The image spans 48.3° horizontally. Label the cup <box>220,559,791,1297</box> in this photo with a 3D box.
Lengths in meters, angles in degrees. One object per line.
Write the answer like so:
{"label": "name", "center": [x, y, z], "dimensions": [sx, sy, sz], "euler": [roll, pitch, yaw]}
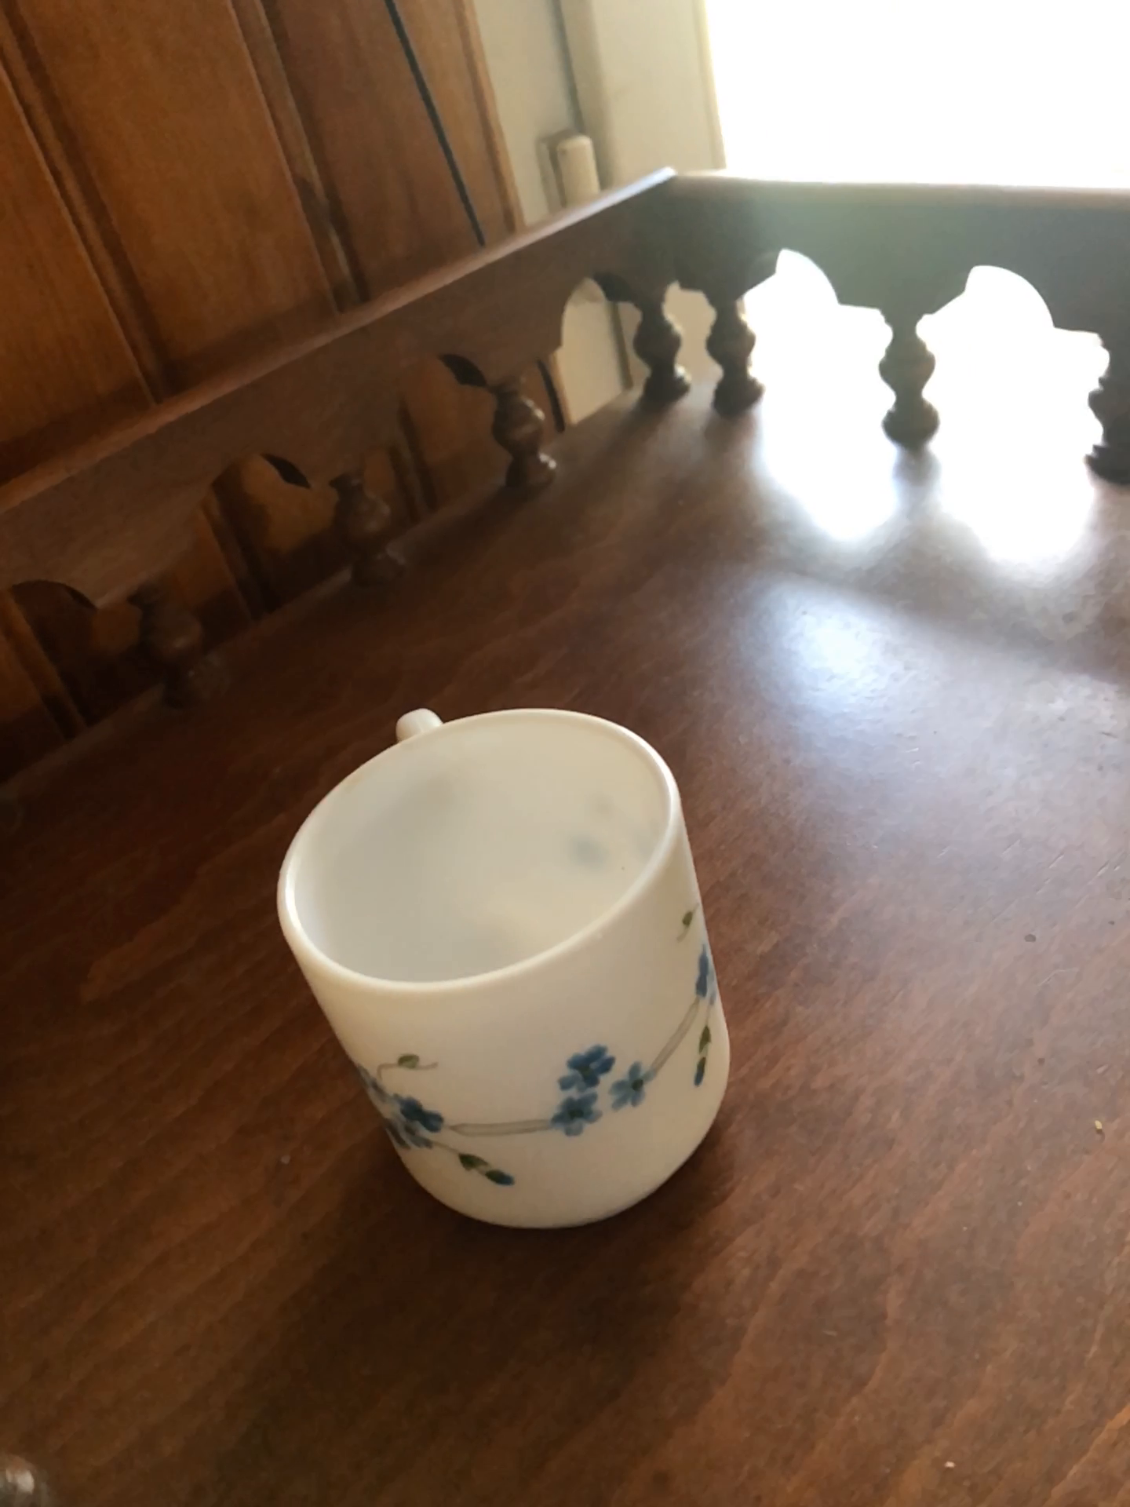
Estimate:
{"label": "cup", "center": [-0.012, 0.022, 0.195], "dimensions": [0.060, 0.060, 0.080], "euler": [-19, 37, -4]}
